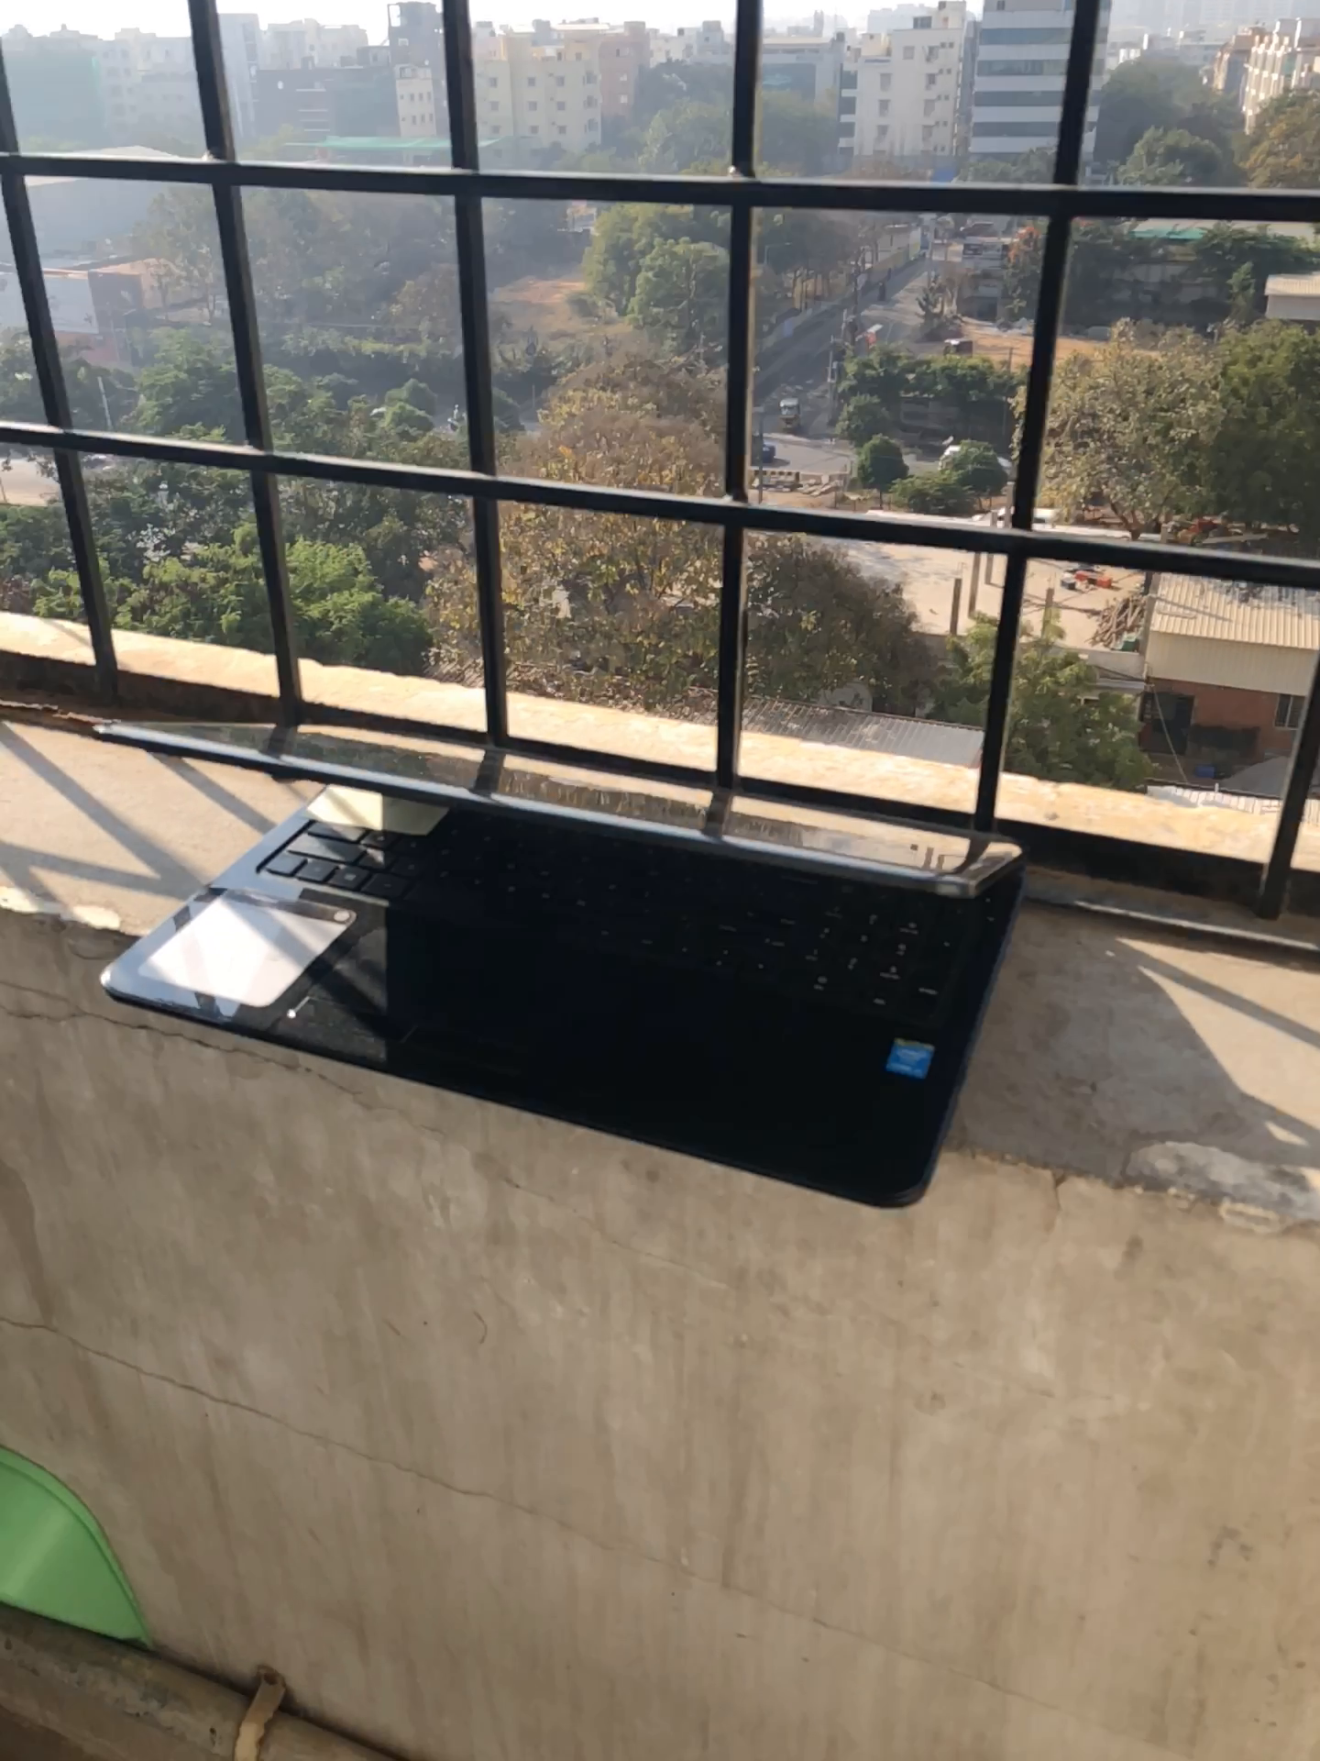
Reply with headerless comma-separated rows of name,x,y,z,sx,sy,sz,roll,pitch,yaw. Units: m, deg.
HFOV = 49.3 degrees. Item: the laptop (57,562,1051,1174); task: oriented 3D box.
laptop,-0.031,-0.034,0.649,0.363,0.113,0.245,11,31,19
